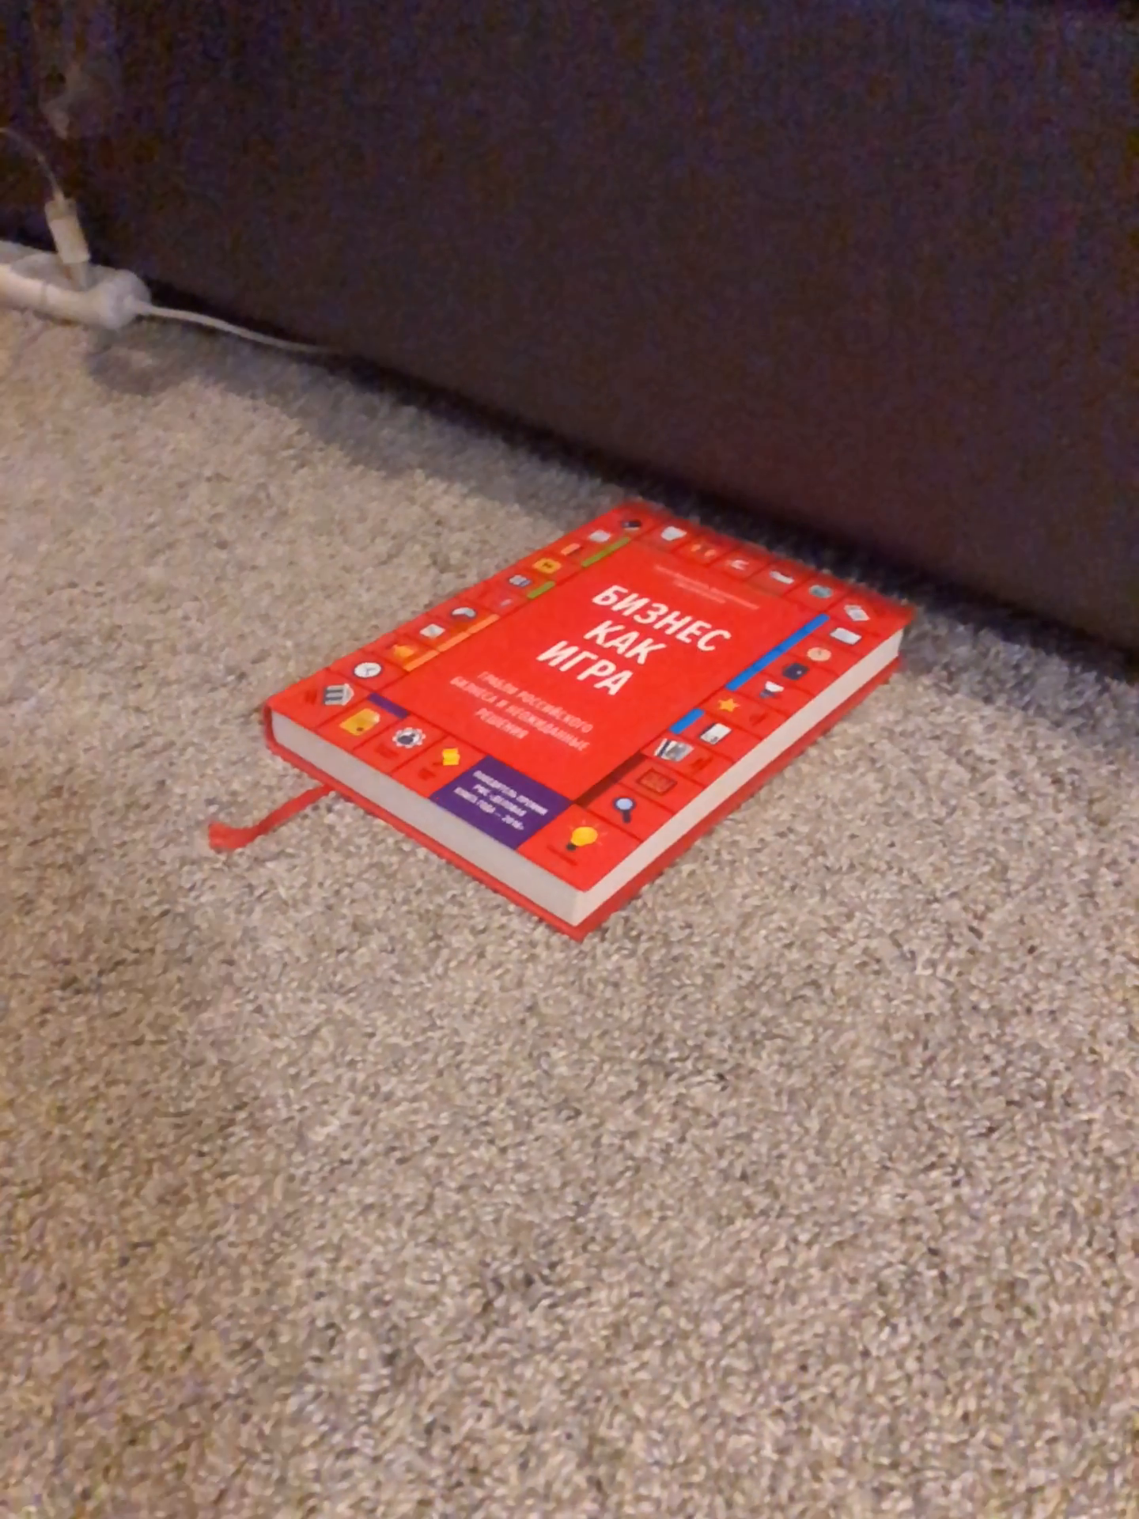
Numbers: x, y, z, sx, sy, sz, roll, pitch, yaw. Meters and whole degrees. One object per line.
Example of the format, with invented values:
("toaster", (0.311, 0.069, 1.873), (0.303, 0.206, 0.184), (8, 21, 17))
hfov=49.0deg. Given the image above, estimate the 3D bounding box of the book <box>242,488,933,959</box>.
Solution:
("book", (0.016, -0.037, 0.542), (0.180, 0.033, 0.248), (27, 44, 29))
